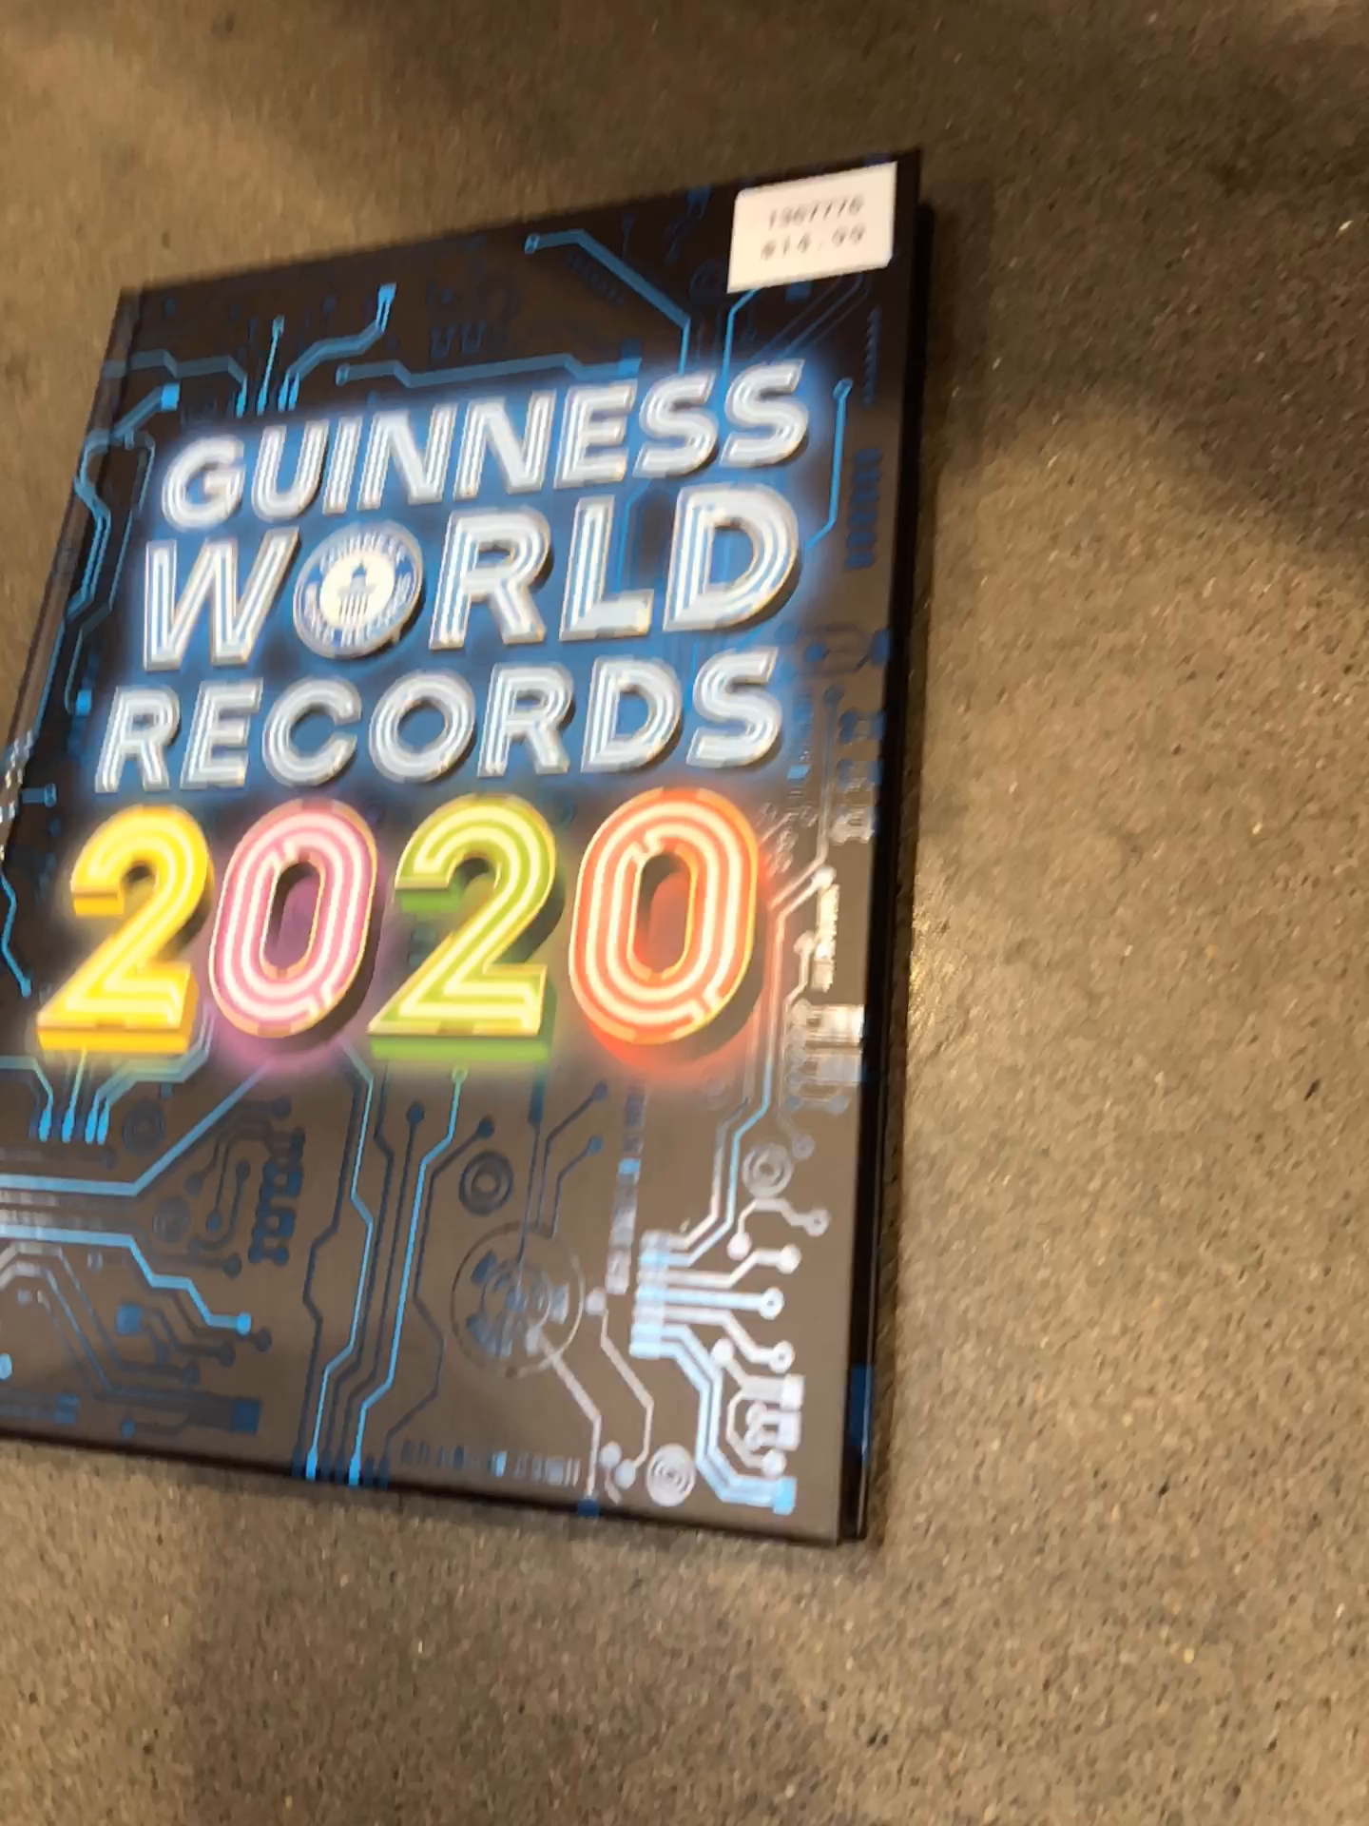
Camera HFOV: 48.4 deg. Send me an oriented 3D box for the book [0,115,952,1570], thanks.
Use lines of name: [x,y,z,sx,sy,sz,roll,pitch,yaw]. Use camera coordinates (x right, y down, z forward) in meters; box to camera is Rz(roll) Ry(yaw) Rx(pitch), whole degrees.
book: [-0.067,-0.031,0.357,0.241,0.030,0.312,-1,71,19]
